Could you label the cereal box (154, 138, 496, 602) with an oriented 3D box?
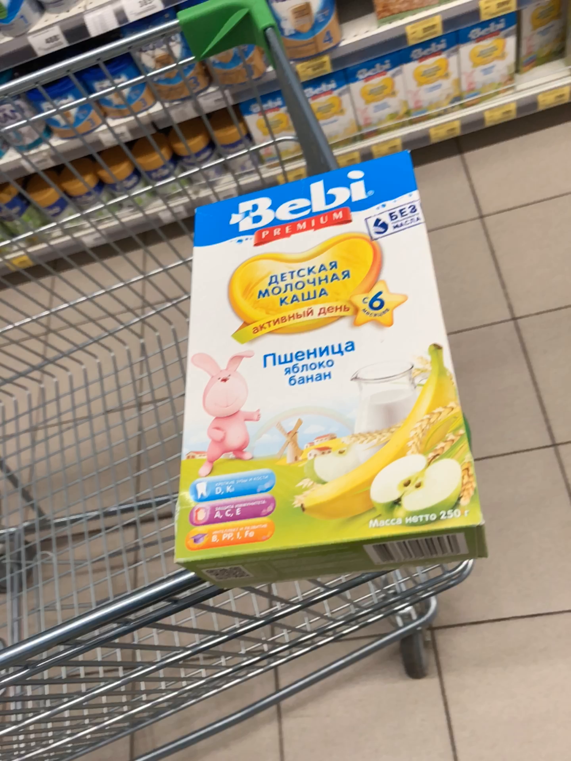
[{"bbox_3d":[0.014,-0.011,0.311,0.130,0.050,0.211,-11,58,16],"label":"cereal box"}]
